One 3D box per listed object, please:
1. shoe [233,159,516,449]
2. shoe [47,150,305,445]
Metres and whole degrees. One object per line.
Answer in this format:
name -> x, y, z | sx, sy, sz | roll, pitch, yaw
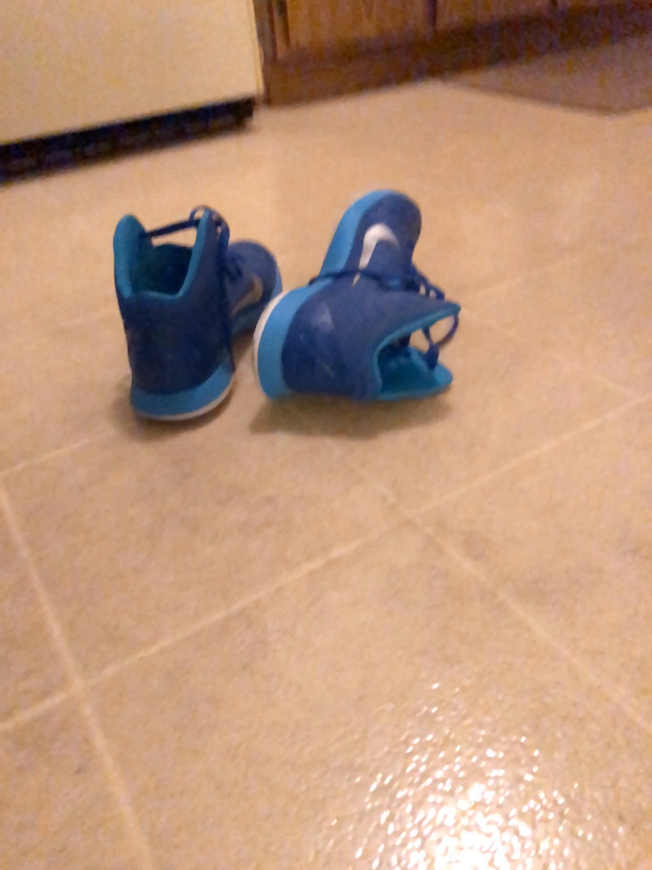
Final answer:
shoe -> 0.057, -0.134, 0.635 | 0.159, 0.119, 0.283 | 13, 39, 16
shoe -> -0.110, -0.142, 0.661 | 0.120, 0.144, 0.312 | 1, 36, 9
